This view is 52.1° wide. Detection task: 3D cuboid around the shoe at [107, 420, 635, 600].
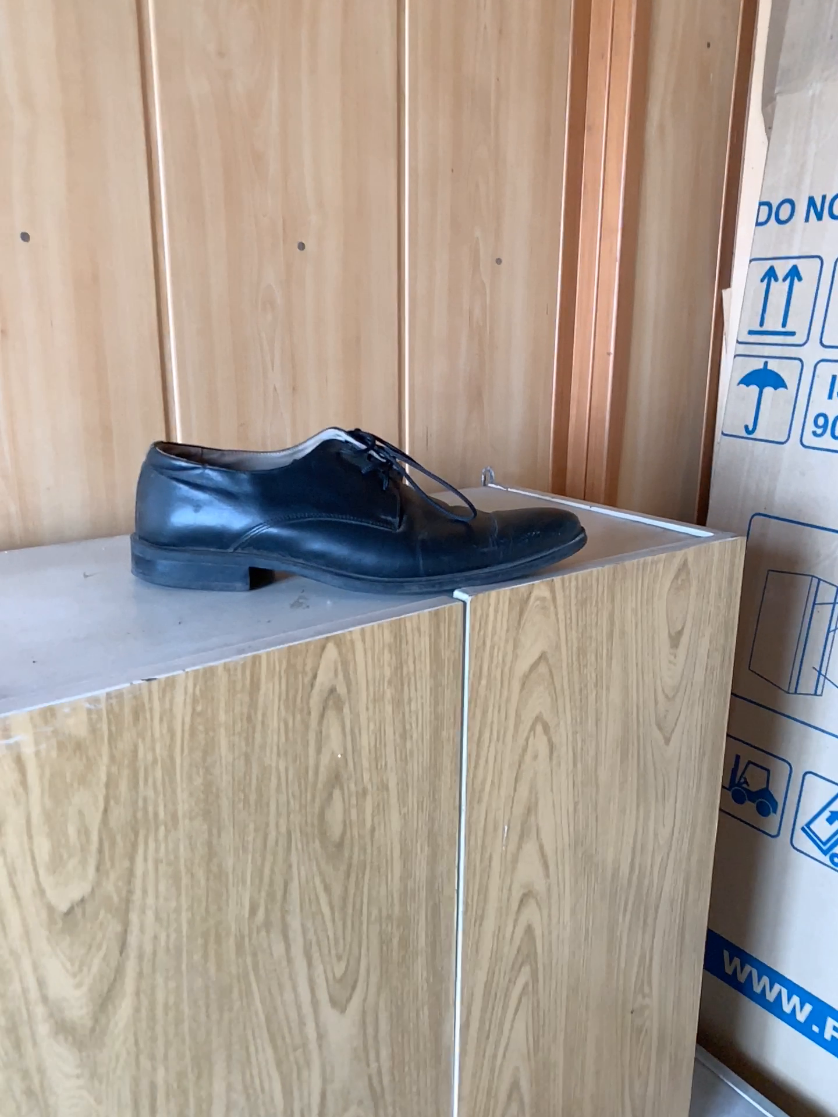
[{"bbox_3d":[-0.029,-0.038,0.567,0.300,0.089,0.141,0,15,-2],"label":"shoe"}]
